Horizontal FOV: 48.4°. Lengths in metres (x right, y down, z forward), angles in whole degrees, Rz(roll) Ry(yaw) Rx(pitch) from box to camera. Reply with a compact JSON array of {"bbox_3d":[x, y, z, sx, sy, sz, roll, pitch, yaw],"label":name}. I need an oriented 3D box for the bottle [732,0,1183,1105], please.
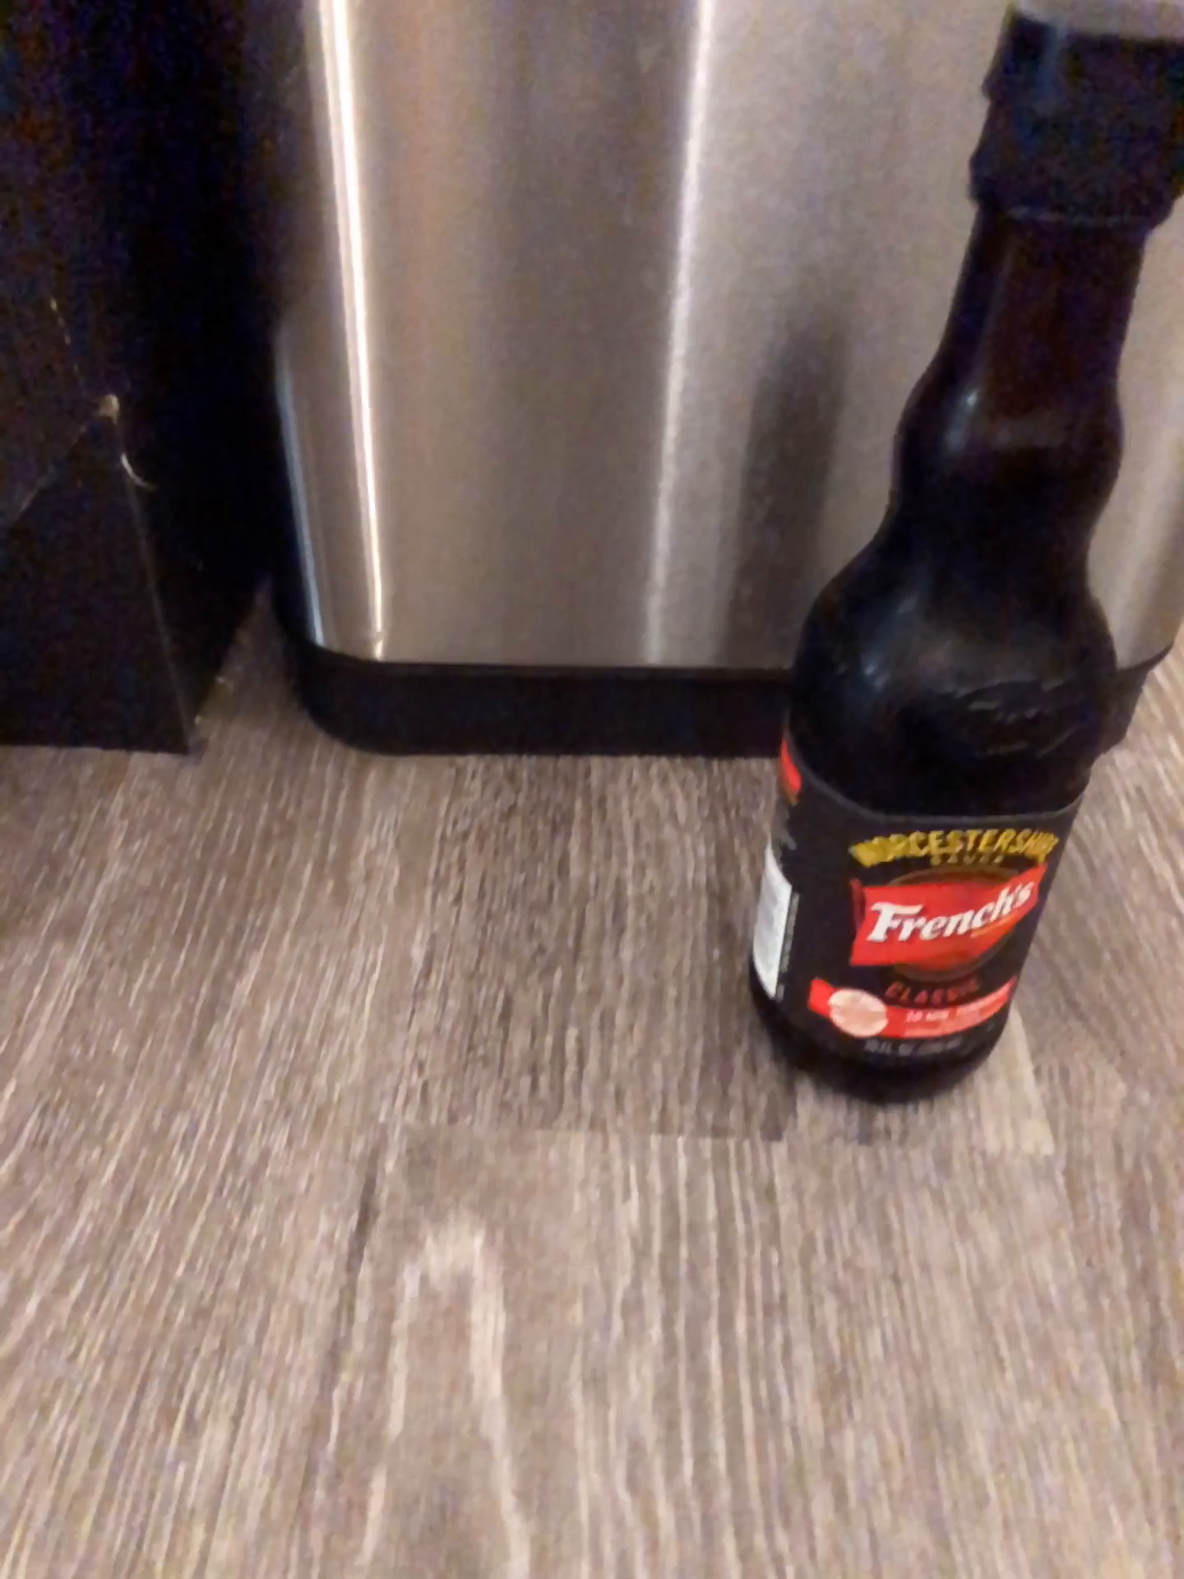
[{"bbox_3d":[0.070,-0.029,0.245,0.060,0.199,0.060,1,40,-1],"label":"bottle"}]
